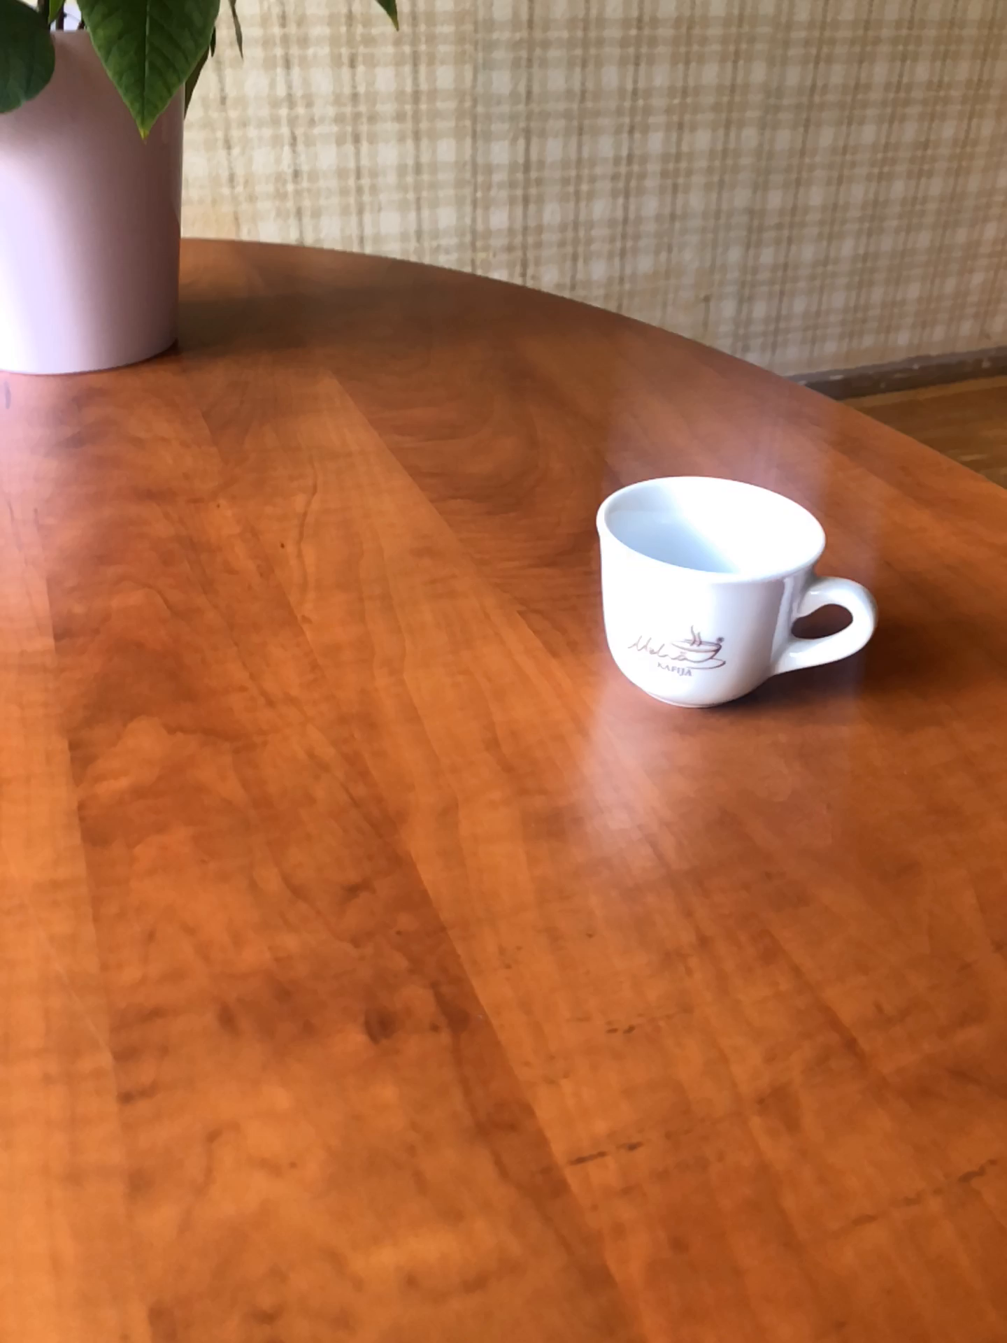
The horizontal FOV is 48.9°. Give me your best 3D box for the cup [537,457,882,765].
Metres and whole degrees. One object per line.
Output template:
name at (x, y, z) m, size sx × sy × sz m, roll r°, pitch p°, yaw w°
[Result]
cup at (0.060, -0.021, 0.322) m, size 0.083 × 0.050 × 0.065 m, roll 12°, pitch 35°, yaw 15°
